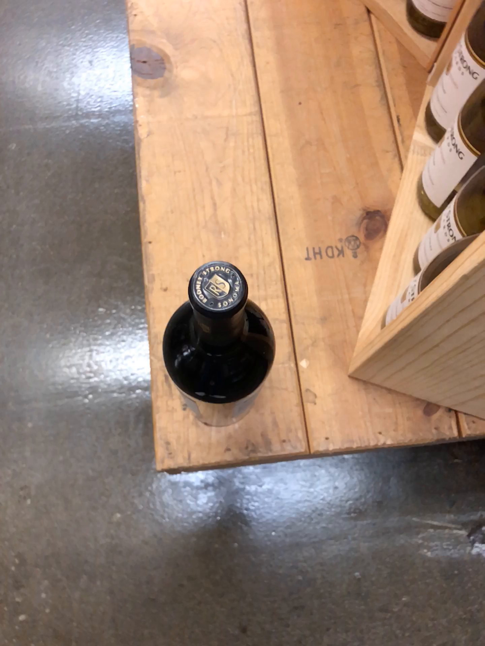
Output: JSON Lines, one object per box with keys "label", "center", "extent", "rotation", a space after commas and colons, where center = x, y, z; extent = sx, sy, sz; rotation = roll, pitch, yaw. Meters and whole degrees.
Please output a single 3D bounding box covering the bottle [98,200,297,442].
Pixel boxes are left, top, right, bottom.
{"label": "bottle", "center": [-0.022, 0.029, 0.397], "extent": [0.070, 0.310, 0.080], "rotation": [16, 74, 3]}
